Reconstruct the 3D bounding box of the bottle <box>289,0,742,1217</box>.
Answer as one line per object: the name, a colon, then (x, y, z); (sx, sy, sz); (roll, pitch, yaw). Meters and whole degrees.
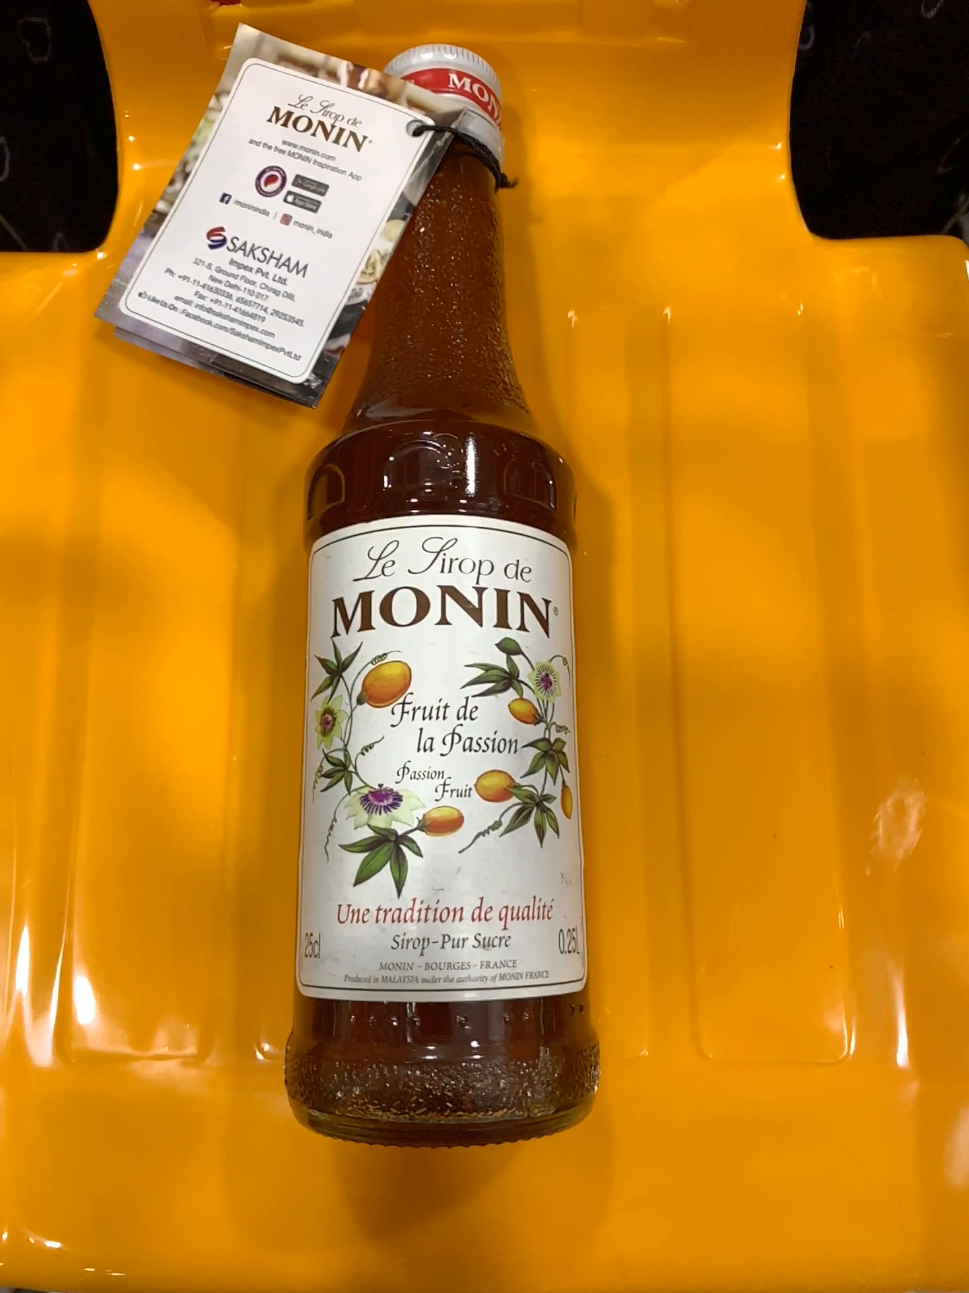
bottle: (0.003, -0.026, 0.185); (0.060, 0.060, 0.220); (-1, 79, 1)
